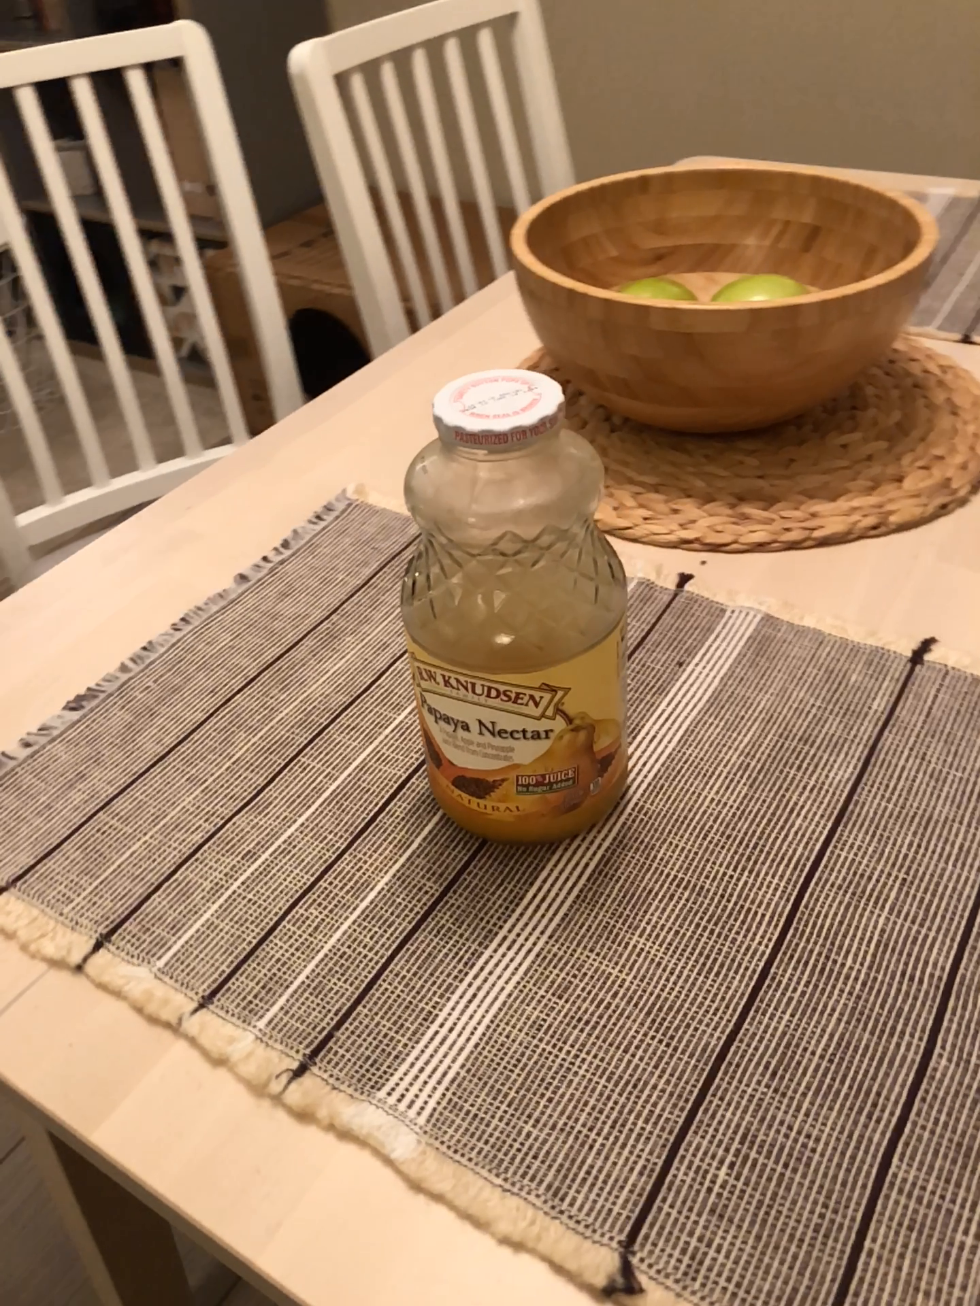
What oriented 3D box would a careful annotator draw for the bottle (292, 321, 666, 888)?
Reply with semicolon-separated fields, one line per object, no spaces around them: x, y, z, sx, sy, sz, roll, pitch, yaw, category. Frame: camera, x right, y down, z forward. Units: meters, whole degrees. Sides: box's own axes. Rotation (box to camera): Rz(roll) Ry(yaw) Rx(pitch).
0.004;-0.019;0.458;0.100;0.199;0.101;-3;38;2;bottle
